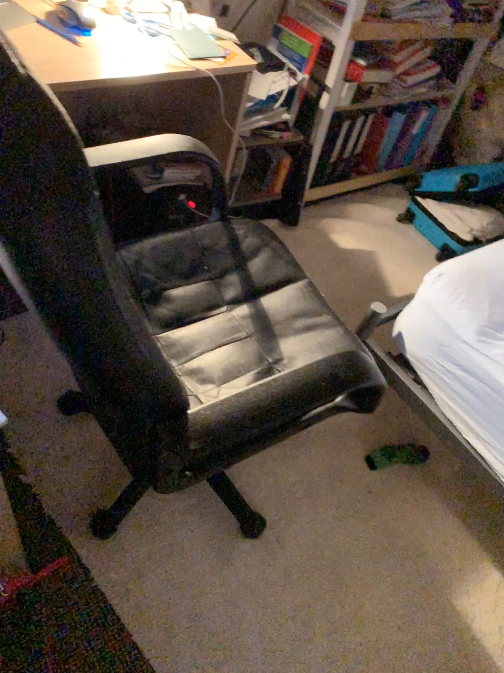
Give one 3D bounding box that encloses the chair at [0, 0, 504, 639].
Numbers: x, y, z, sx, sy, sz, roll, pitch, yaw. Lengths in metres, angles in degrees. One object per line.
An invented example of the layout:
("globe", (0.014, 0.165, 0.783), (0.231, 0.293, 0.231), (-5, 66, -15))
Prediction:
("chair", (-0.116, -0.048, 0.969), (0.653, 1.160, 0.713), (-23, 62, -27))
